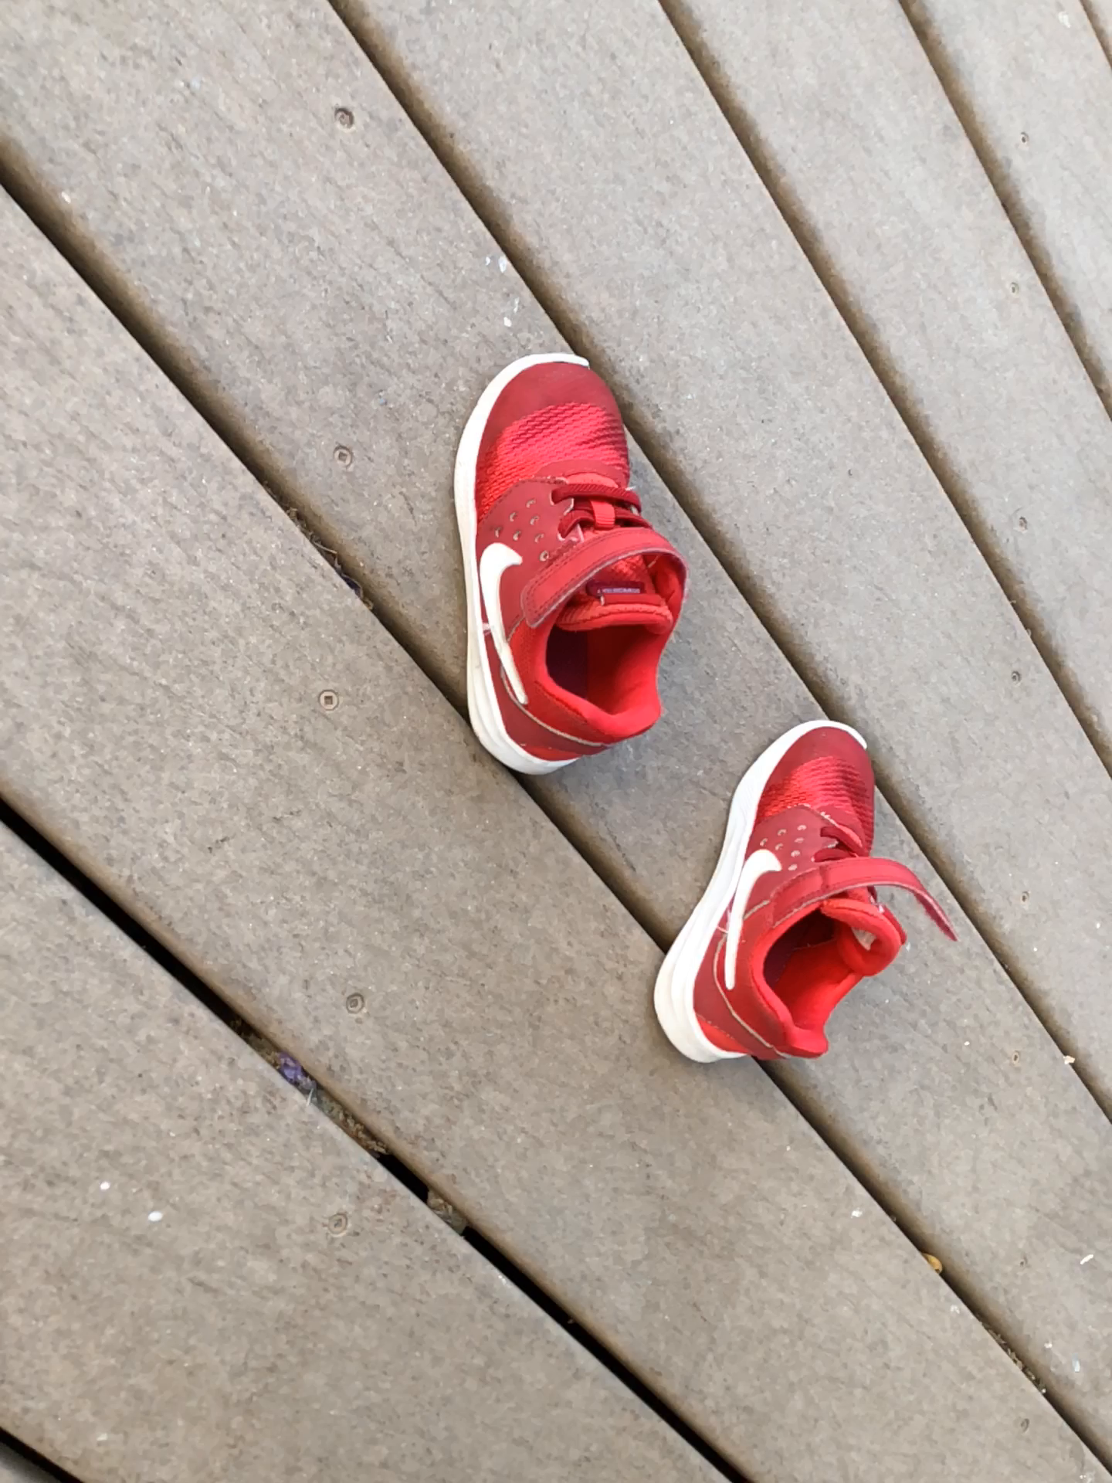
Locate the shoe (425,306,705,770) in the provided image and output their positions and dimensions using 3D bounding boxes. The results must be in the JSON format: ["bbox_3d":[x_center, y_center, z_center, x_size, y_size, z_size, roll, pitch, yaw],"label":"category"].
[{"bbox_3d":[0.003,-0.067,0.455,0.073,0.069,0.153,4,87,-34],"label":"shoe"}]

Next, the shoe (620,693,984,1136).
[{"bbox_3d":[0.107,0.068,0.520,0.070,0.069,0.164,38,69,-28],"label":"shoe"}]
